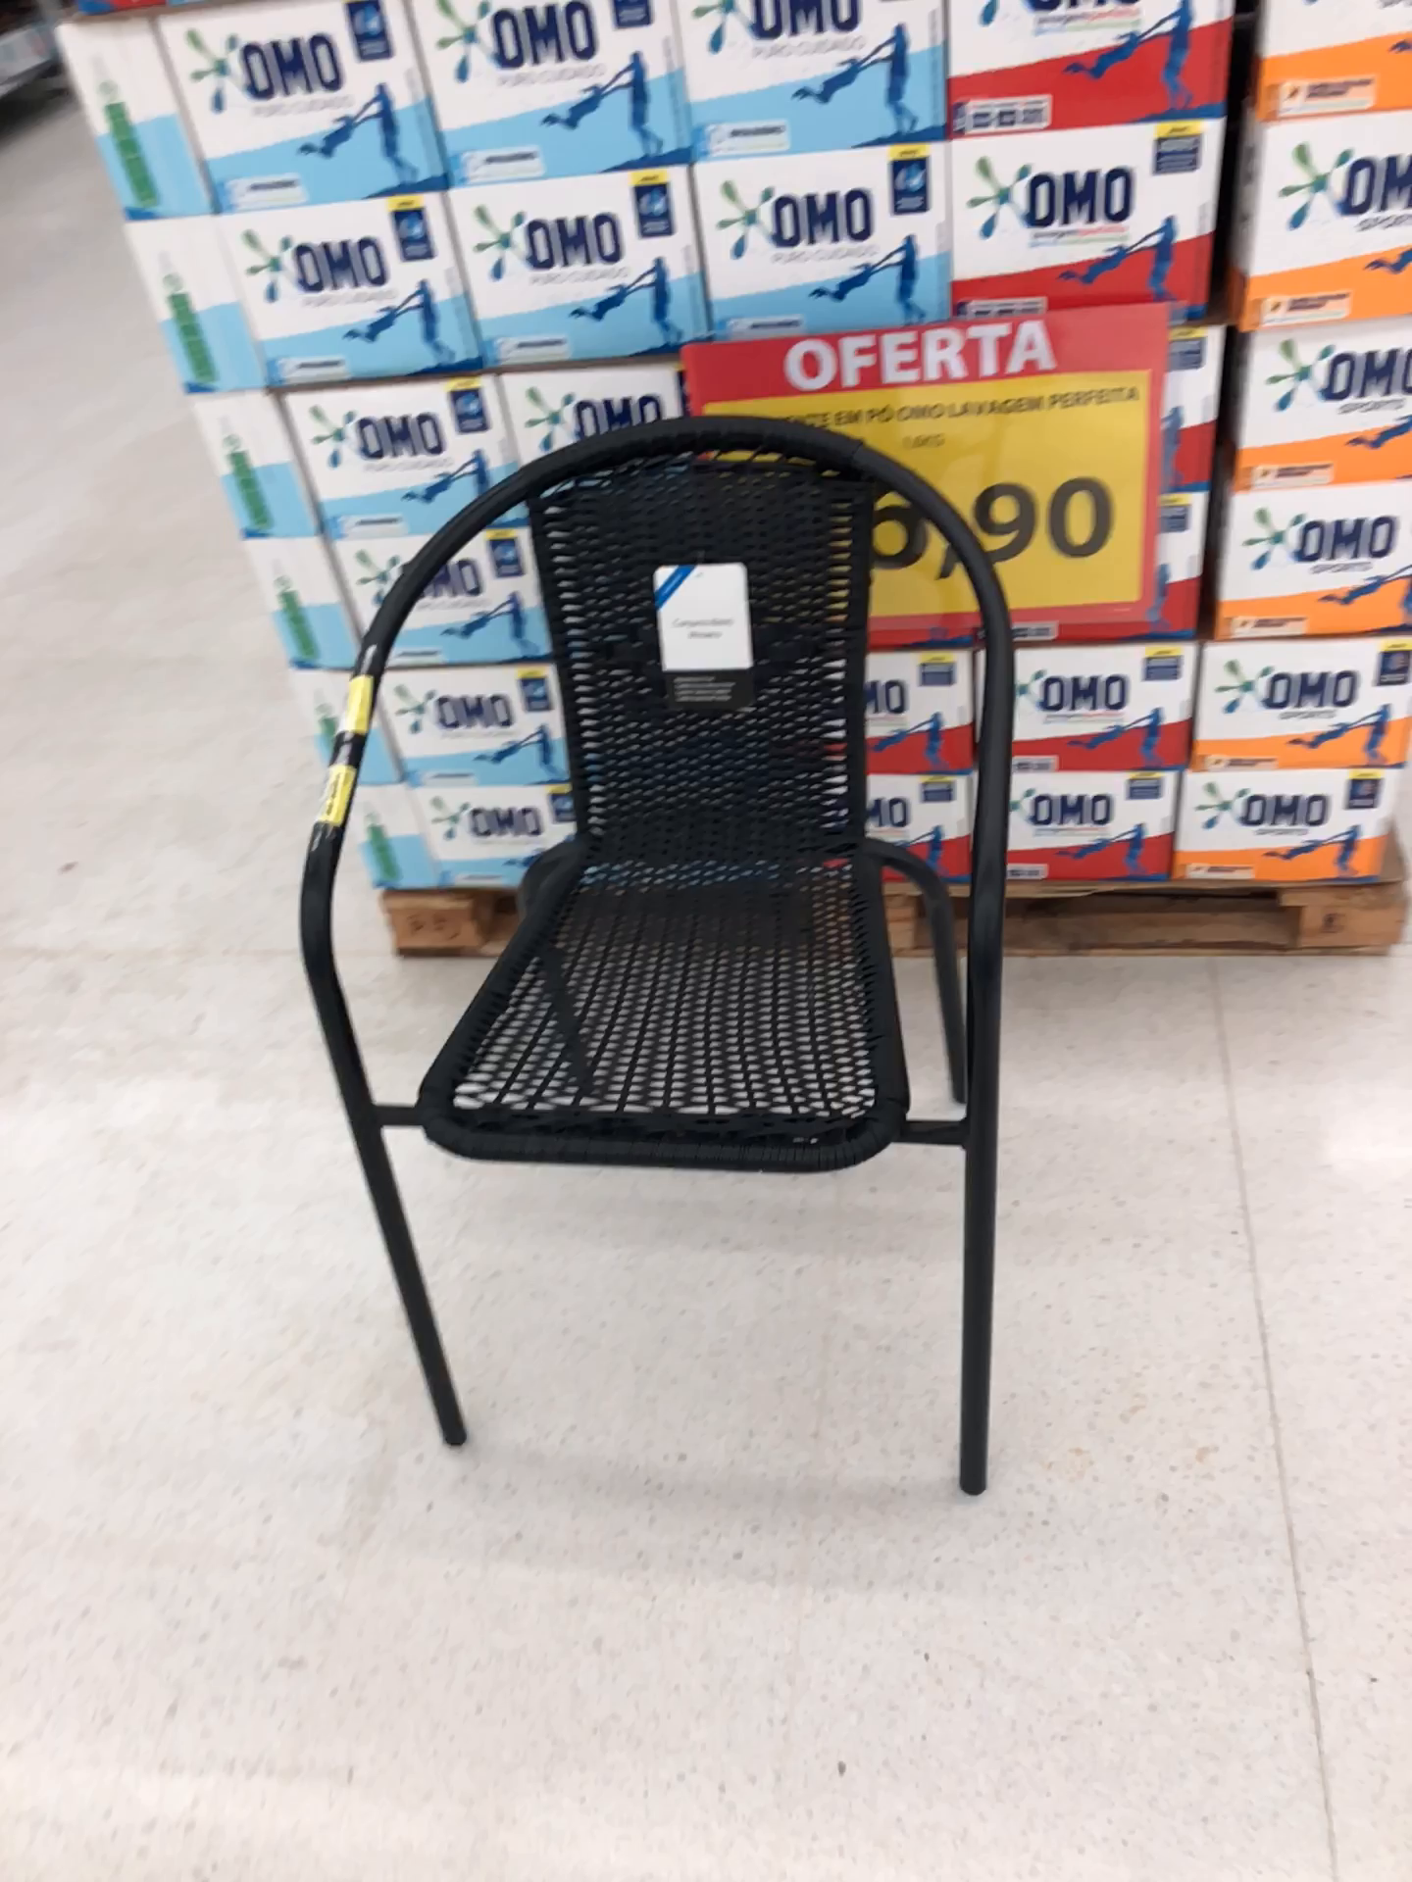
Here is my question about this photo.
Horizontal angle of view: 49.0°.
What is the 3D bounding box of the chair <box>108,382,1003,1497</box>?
[{"bbox_3d":[-0.016,0.017,1.267,0.500,0.724,0.504,0,42,11],"label":"chair"}]
